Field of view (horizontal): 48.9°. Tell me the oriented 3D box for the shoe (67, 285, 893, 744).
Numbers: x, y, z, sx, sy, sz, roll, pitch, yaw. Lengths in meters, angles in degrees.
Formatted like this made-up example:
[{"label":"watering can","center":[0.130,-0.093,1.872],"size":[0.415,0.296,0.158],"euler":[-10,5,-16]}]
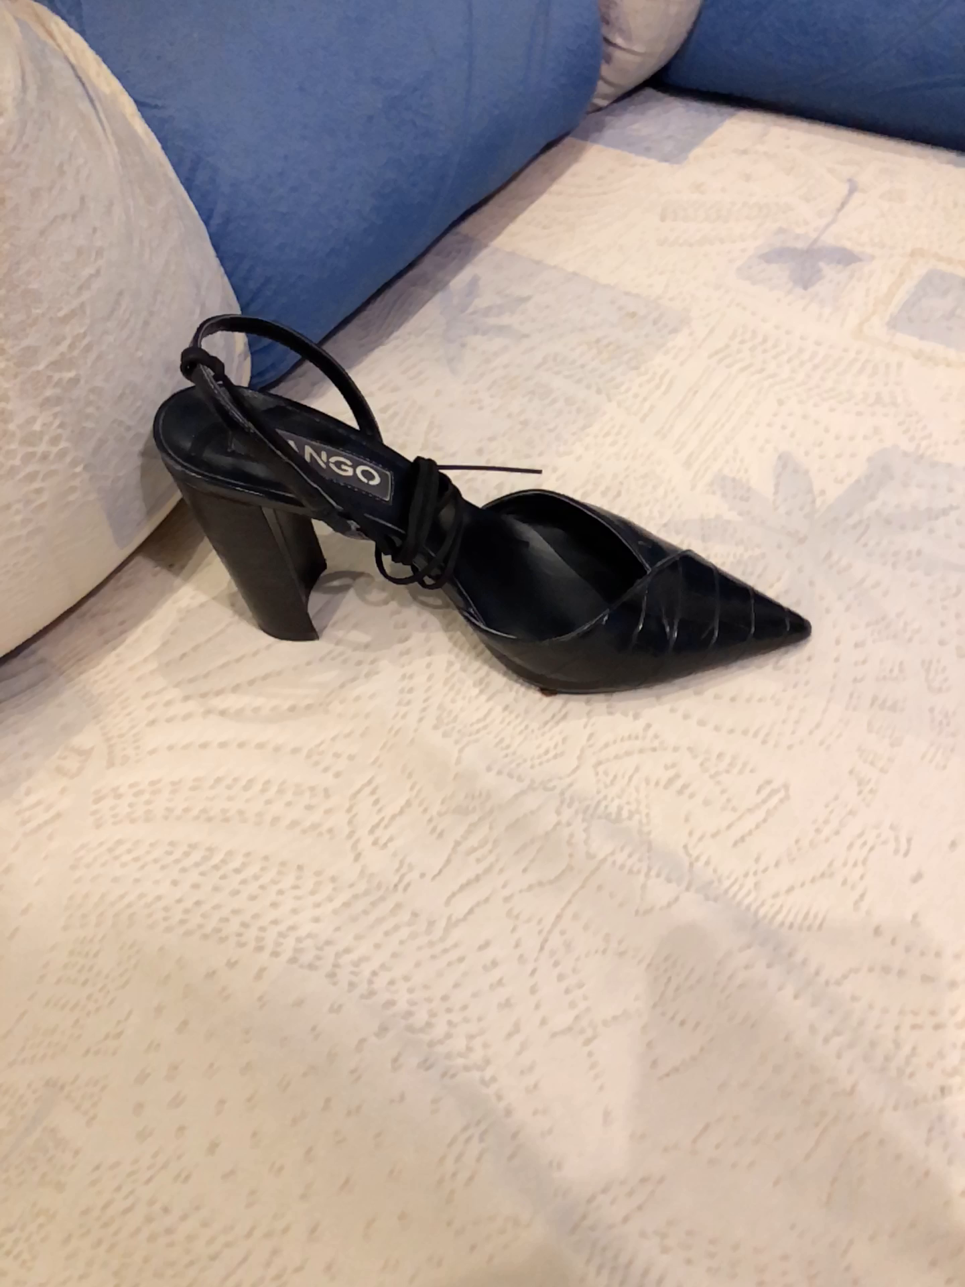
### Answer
[{"label":"shoe","center":[0.003,-0.045,0.374],"size":[0.240,0.119,0.084],"euler":[6,53,9]}]
